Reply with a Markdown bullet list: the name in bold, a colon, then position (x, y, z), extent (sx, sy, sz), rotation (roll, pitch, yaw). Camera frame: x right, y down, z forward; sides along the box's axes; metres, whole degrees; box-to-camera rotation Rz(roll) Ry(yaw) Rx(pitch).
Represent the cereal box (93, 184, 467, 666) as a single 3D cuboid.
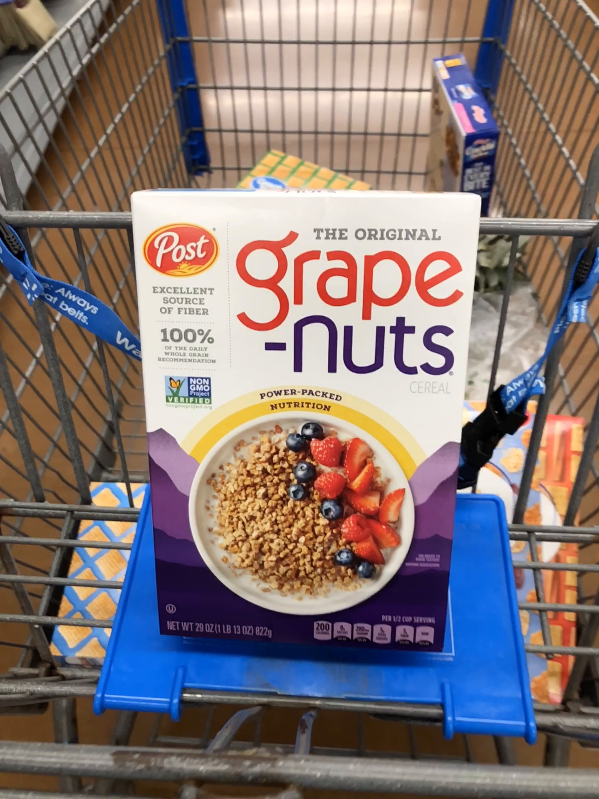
- **cereal box**: position (-0.010, 0.016, 0.359), extent (0.170, 0.250, 0.050), rotation (2, 16, 4)
